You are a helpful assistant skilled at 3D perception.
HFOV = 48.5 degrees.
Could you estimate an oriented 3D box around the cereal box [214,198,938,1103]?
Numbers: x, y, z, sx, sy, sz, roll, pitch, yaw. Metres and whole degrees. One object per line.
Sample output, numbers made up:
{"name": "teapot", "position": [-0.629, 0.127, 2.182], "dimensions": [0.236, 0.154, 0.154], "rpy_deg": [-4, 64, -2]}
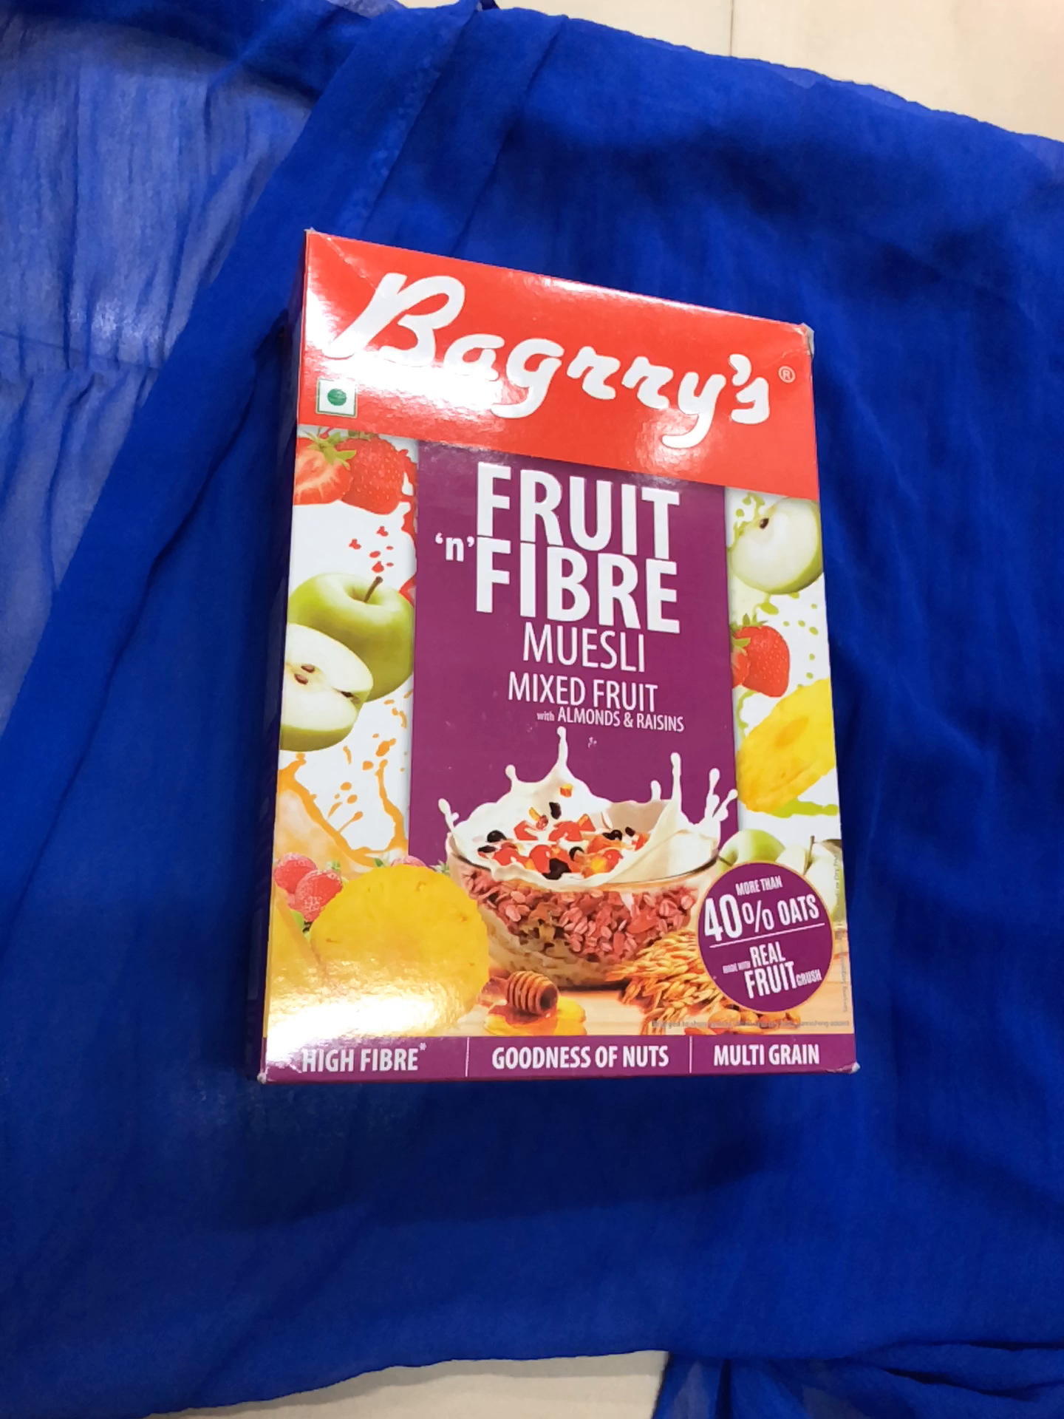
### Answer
{"name": "cereal box", "position": [0.011, -0.011, 0.381], "dimensions": [0.200, 0.080, 0.250], "rpy_deg": [5, 76, -18]}
